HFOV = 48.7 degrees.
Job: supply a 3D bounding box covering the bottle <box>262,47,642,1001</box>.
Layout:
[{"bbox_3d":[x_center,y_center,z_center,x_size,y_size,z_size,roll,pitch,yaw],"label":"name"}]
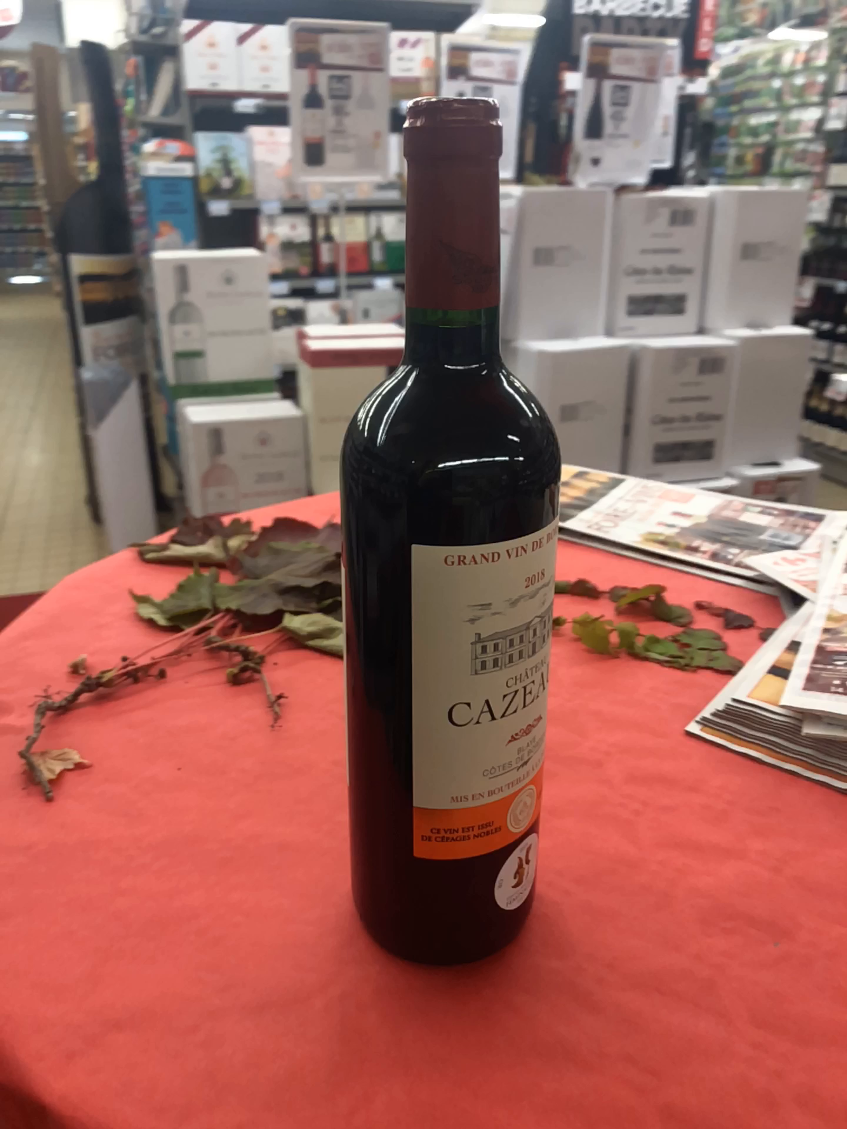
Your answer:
[{"bbox_3d":[0.010,-0.005,0.330,0.080,0.298,0.080,0,21,0],"label":"bottle"}]
